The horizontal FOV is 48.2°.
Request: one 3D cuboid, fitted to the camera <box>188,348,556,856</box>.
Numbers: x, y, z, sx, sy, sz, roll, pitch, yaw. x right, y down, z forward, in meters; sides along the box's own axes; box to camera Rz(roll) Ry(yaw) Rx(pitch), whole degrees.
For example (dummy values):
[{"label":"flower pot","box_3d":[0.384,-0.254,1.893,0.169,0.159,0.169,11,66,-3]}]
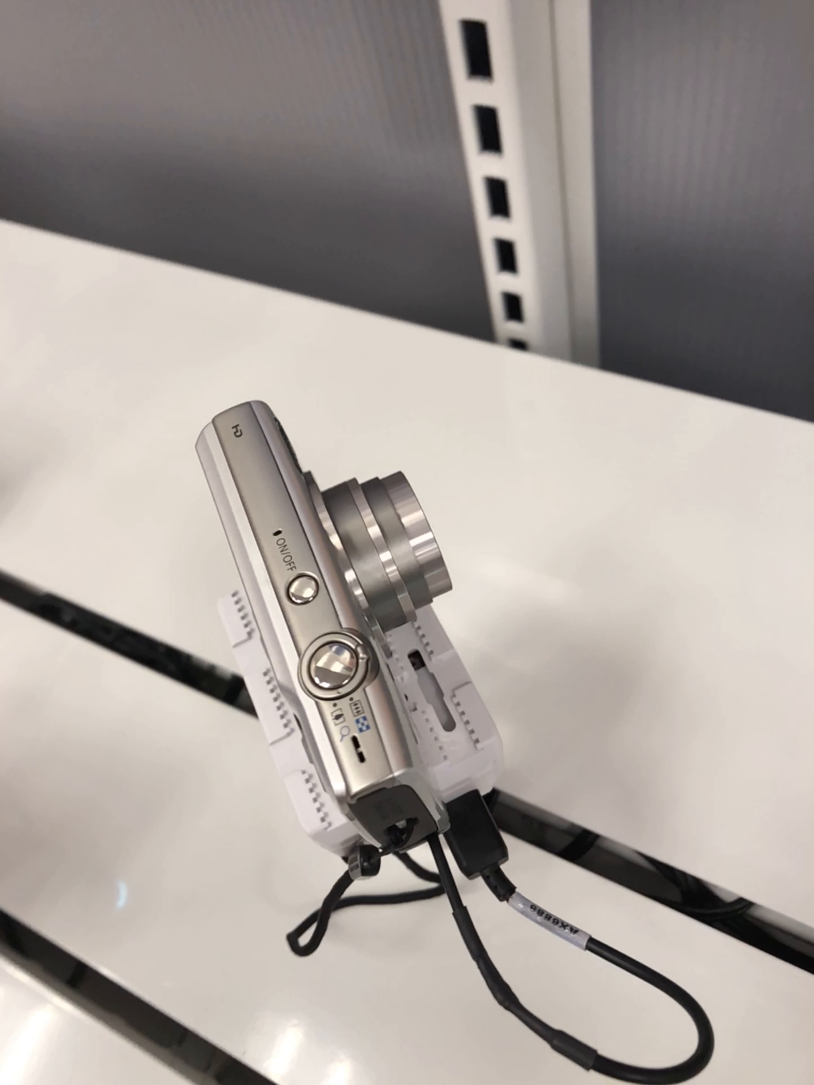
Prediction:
[{"label":"camera","box_3d":[-0.007,0.013,0.202,0.042,0.055,0.089,-24,60,-2]}]
